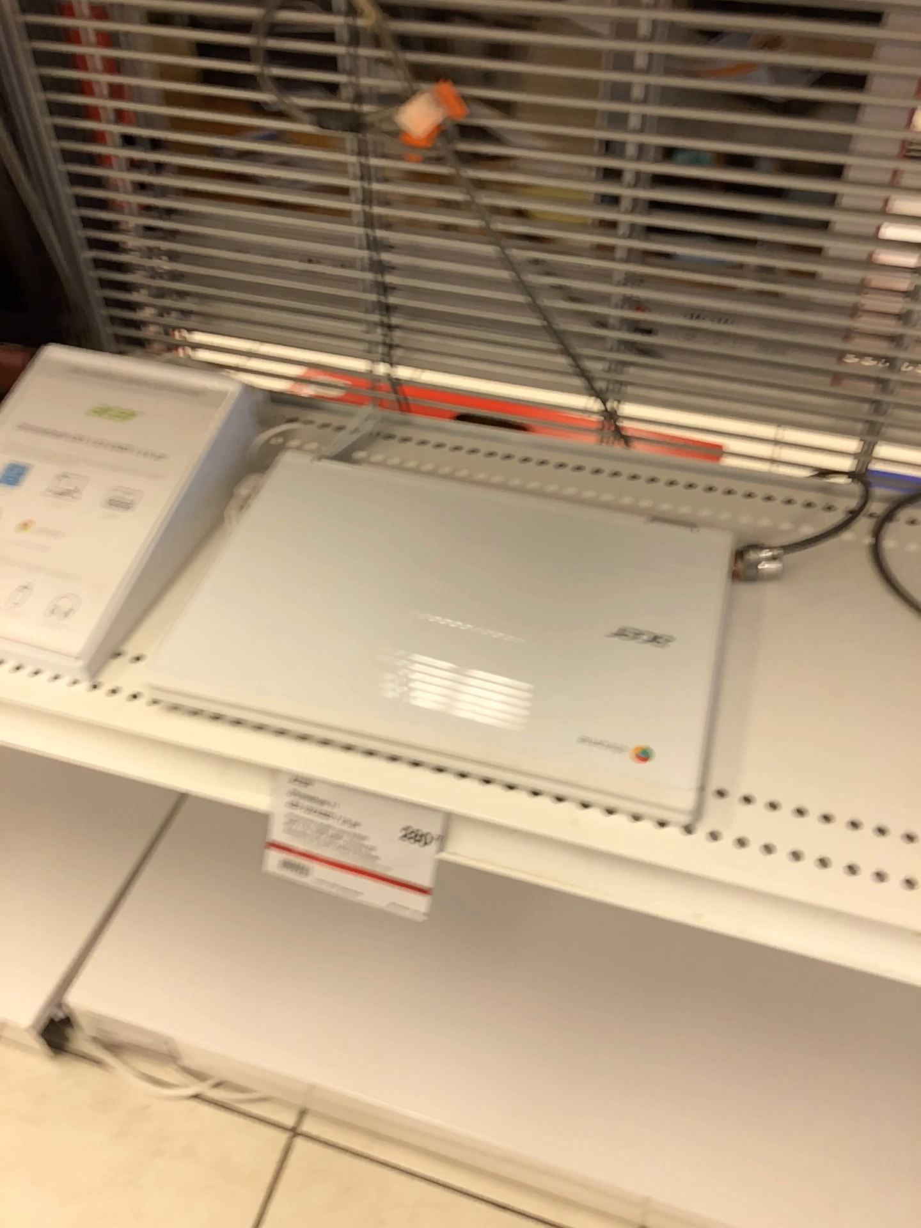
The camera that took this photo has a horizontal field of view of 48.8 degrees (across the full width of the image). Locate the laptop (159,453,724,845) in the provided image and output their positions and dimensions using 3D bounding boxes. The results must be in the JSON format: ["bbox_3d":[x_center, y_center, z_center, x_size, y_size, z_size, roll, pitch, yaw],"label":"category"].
[{"bbox_3d":[-0.005,0.005,0.584,0.286,0.024,0.184,12,55,12],"label":"laptop"}]
